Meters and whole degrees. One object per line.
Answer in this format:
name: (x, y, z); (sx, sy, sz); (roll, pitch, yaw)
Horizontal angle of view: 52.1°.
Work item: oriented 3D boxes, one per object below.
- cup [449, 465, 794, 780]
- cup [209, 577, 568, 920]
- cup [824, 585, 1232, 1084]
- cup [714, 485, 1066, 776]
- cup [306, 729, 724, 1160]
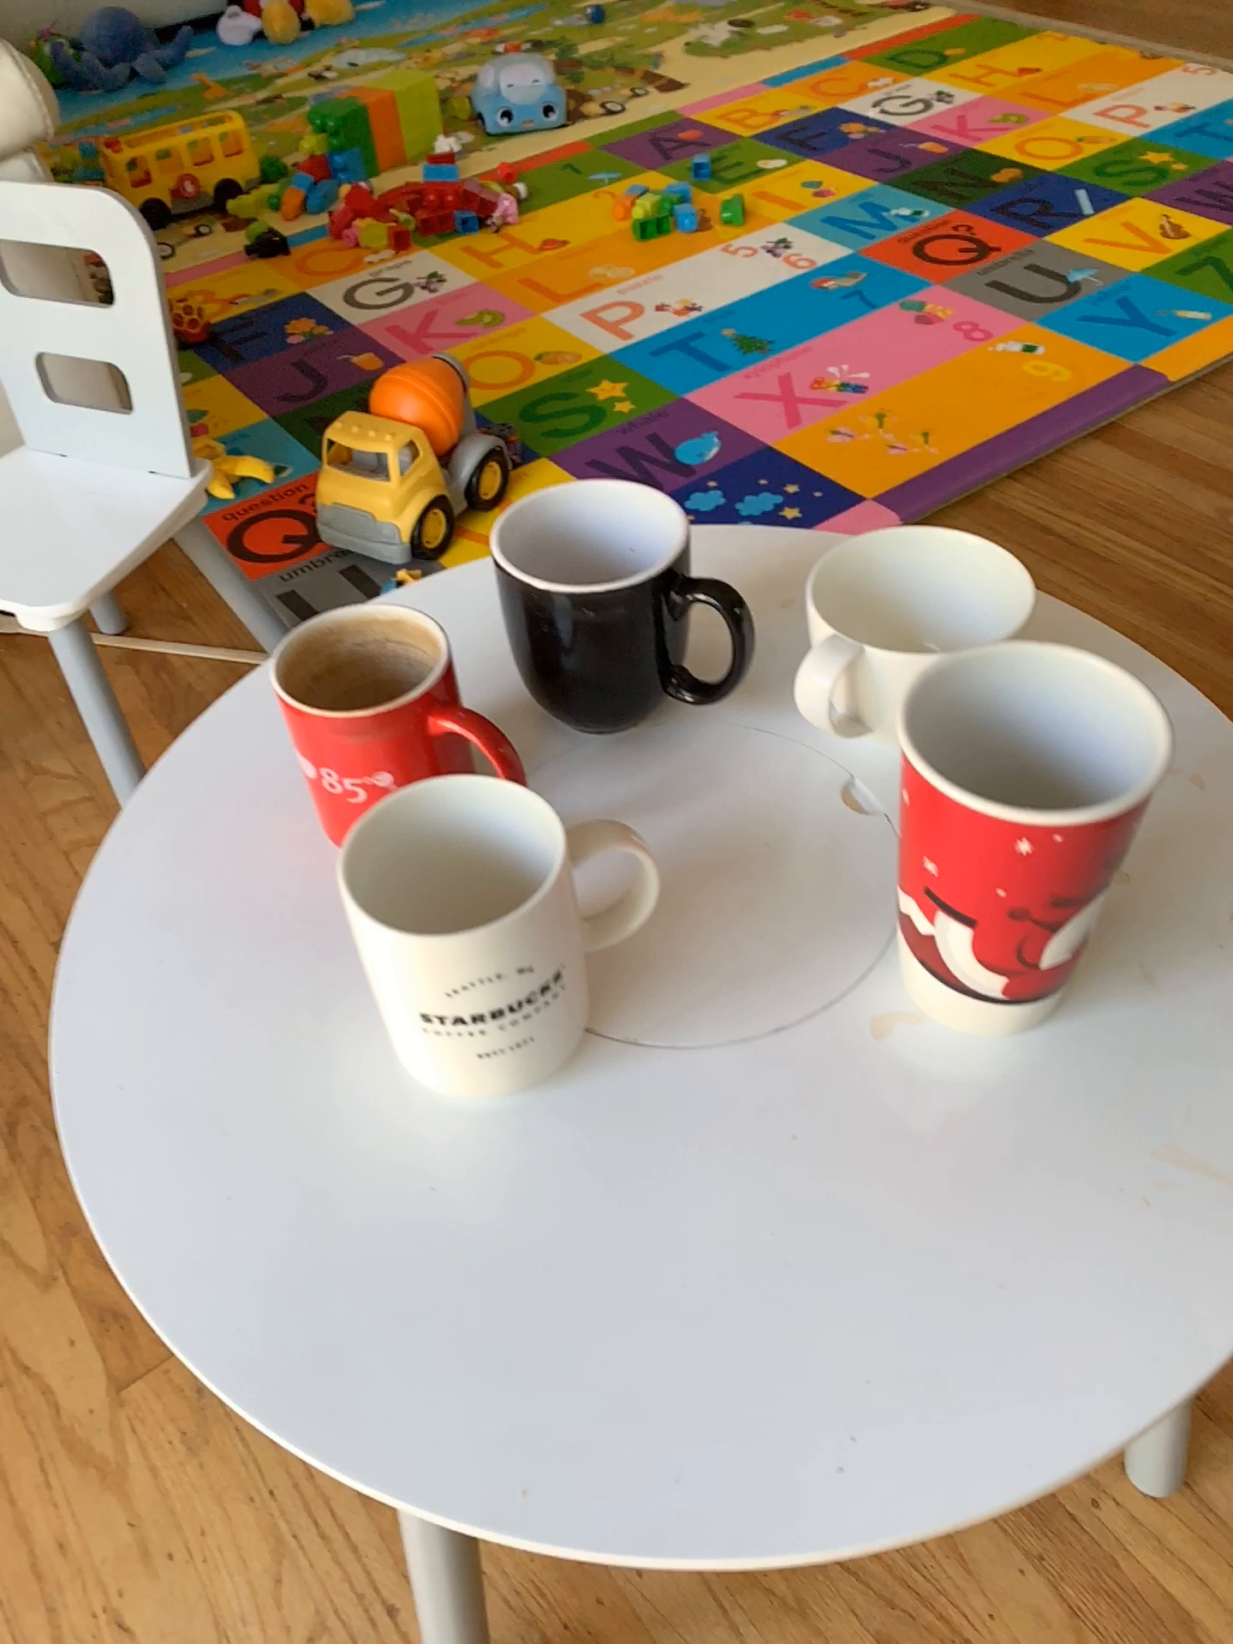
cup: (0.005, -0.099, 0.603); (0.130, 0.080, 0.090); (23, 53, 25)
cup: (-0.098, -0.035, 0.564); (0.120, 0.090, 0.080); (23, 53, 25)
cup: (0.155, 0.003, 0.492); (0.100, 0.119, 0.131); (-13, 47, -7)
cup: (0.120, -0.089, 0.558); (0.100, 0.040, 0.120); (30, 56, 30)
cup: (-0.036, 0.046, 0.483); (0.130, 0.100, 0.090); (-16, 47, -9)
